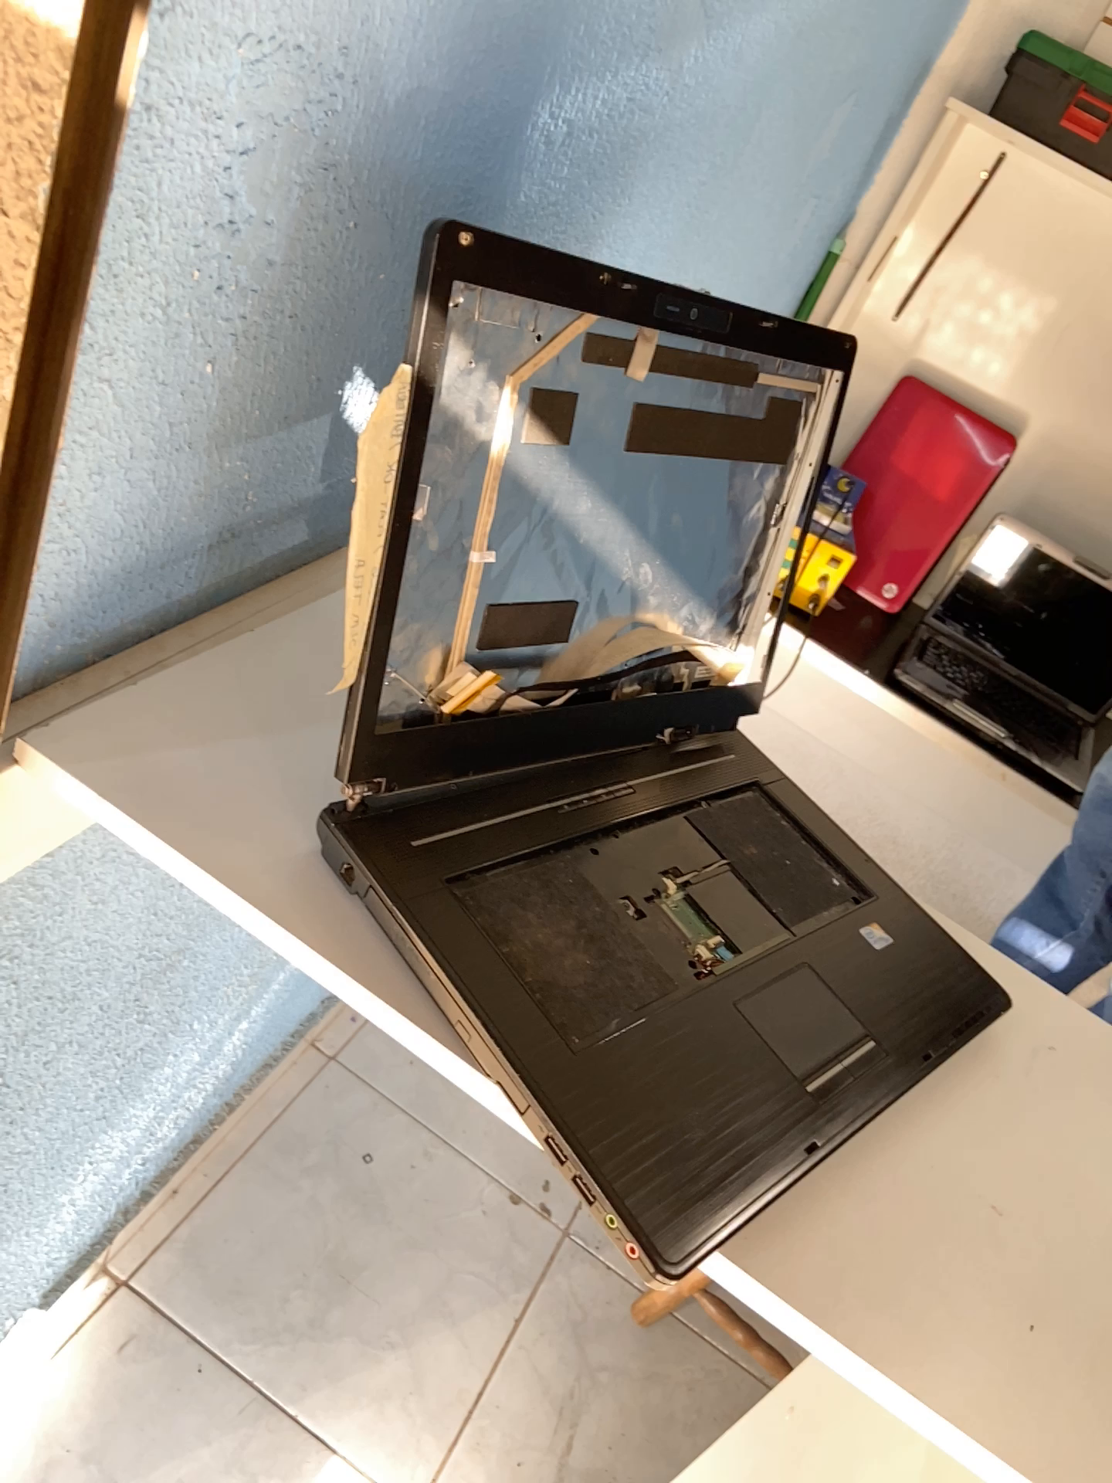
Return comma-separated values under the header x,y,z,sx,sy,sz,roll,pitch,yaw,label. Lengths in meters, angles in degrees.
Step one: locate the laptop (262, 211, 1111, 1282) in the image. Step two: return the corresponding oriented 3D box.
x,y,z,sx,sy,sz,roll,pitch,yaw,label
0.116,-0.029,0.591,0.354,0.261,0.350,-10,49,-46,laptop
